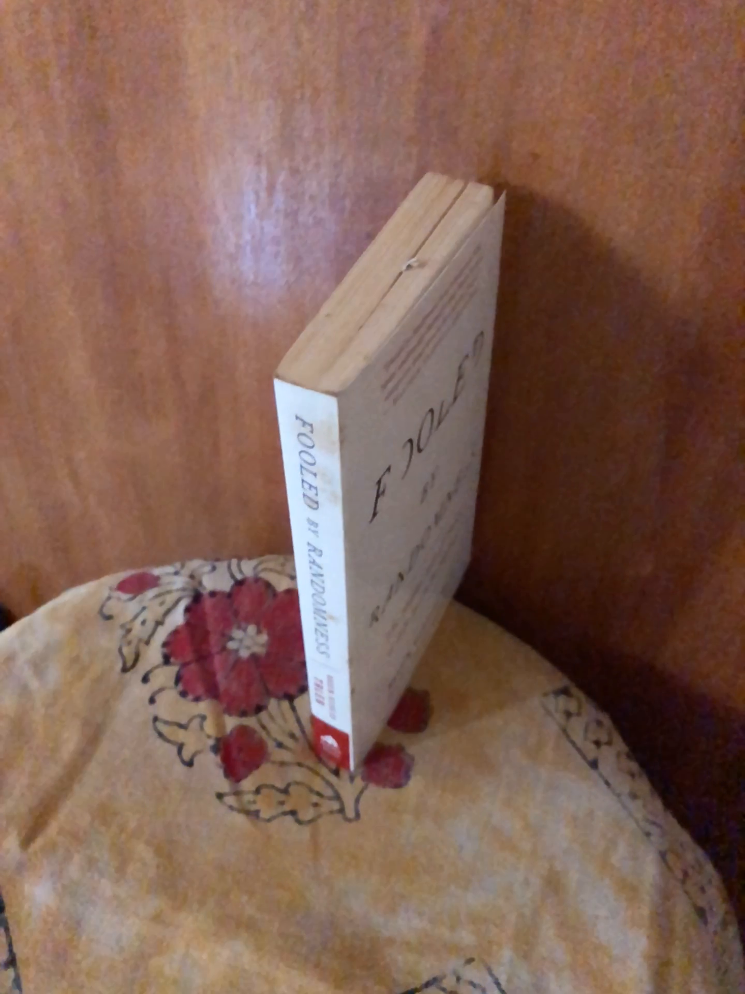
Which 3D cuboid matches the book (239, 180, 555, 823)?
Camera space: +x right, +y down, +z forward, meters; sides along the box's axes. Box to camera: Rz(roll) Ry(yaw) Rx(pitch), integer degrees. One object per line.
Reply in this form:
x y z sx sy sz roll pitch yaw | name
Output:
0.011 0.002 0.331 0.040 0.199 0.161 20 42 17 | book
